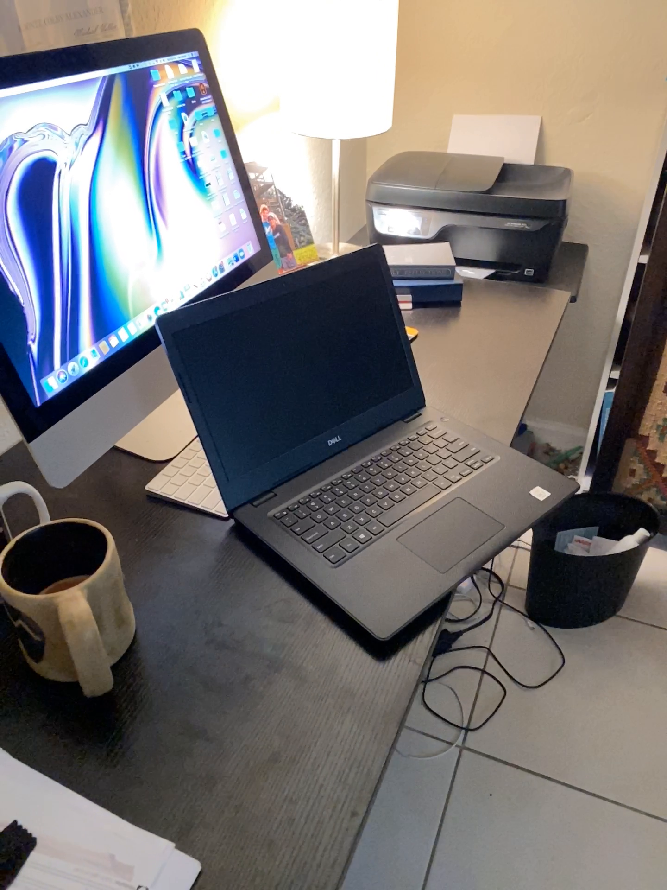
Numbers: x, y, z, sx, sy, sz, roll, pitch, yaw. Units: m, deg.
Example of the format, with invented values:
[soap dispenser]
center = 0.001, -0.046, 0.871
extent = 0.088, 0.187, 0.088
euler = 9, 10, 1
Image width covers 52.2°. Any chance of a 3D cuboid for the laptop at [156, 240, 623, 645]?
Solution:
[laptop]
center = 0.055, -0.043, 0.764
extent = 0.337, 0.206, 0.344
euler = -28, 44, -33
